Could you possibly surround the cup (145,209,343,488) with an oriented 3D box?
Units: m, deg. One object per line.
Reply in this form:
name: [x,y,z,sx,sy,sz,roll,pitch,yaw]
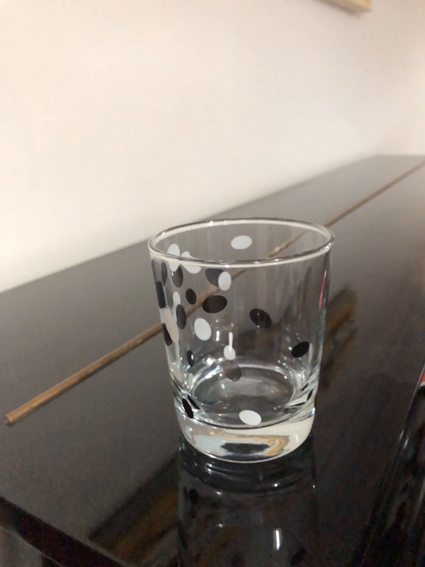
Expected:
cup: [0.013,0.023,0.222,0.070,0.099,0.080,-2,18,0]
